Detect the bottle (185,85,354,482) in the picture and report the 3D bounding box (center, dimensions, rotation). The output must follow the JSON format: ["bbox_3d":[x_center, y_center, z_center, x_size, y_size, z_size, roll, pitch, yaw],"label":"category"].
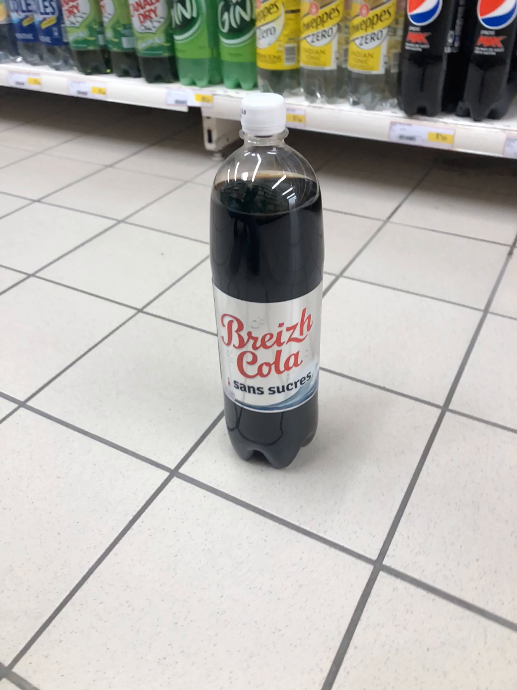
[{"bbox_3d":[0.012,-0.030,0.467,0.100,0.318,0.091,0,36,3],"label":"bottle"}]
